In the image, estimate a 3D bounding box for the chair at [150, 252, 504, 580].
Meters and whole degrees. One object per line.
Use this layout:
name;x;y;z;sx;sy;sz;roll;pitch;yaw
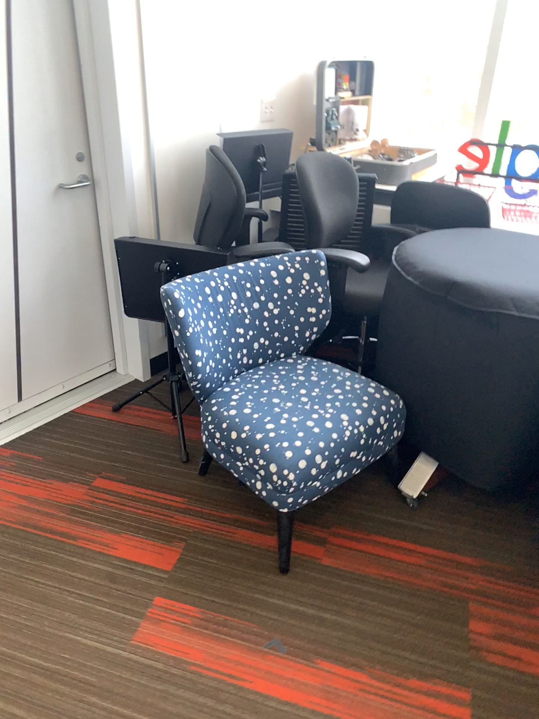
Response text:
chair;0.199;0.099;2.105;1.001;0.686;0.773;-19;35;-35
